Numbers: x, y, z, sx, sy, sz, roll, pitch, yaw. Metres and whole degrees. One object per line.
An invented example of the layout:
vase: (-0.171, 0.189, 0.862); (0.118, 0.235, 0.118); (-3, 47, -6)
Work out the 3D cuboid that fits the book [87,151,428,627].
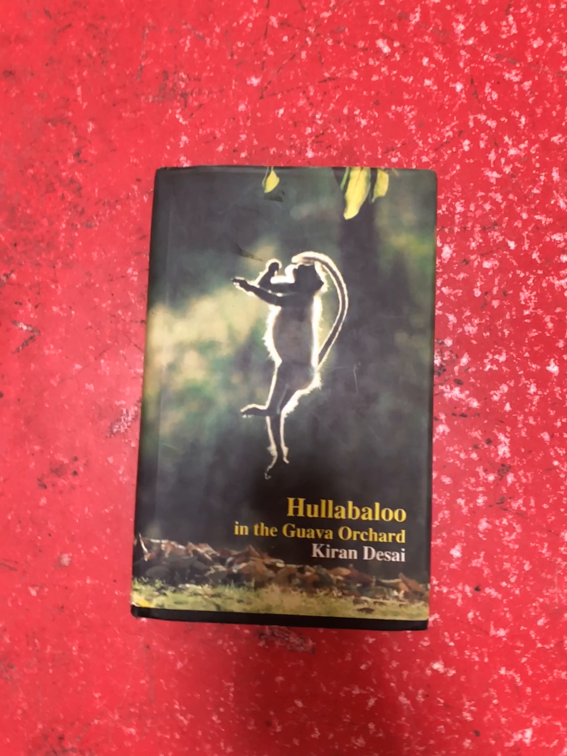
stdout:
book: (-0.011, 0.002, 0.327); (0.160, 0.030, 0.230); (2, 85, 3)
